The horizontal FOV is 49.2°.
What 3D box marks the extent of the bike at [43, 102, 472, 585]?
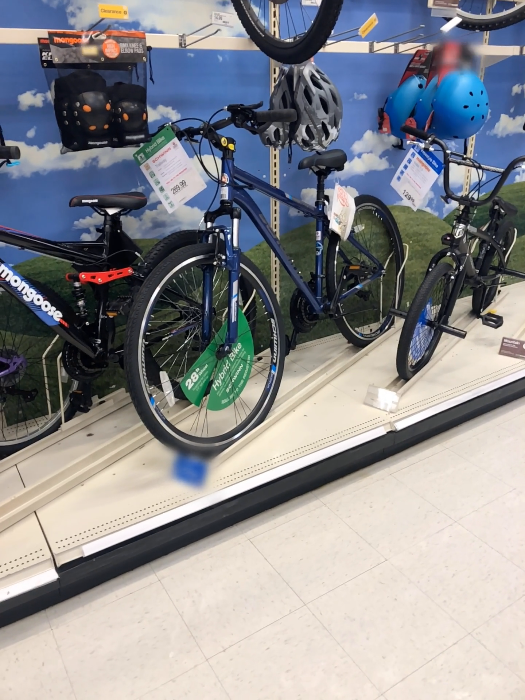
[{"bbox_3d":[0.170,-0.258,2.137,0.530,1.098,1.743,15,31,33],"label":"bike"}]
